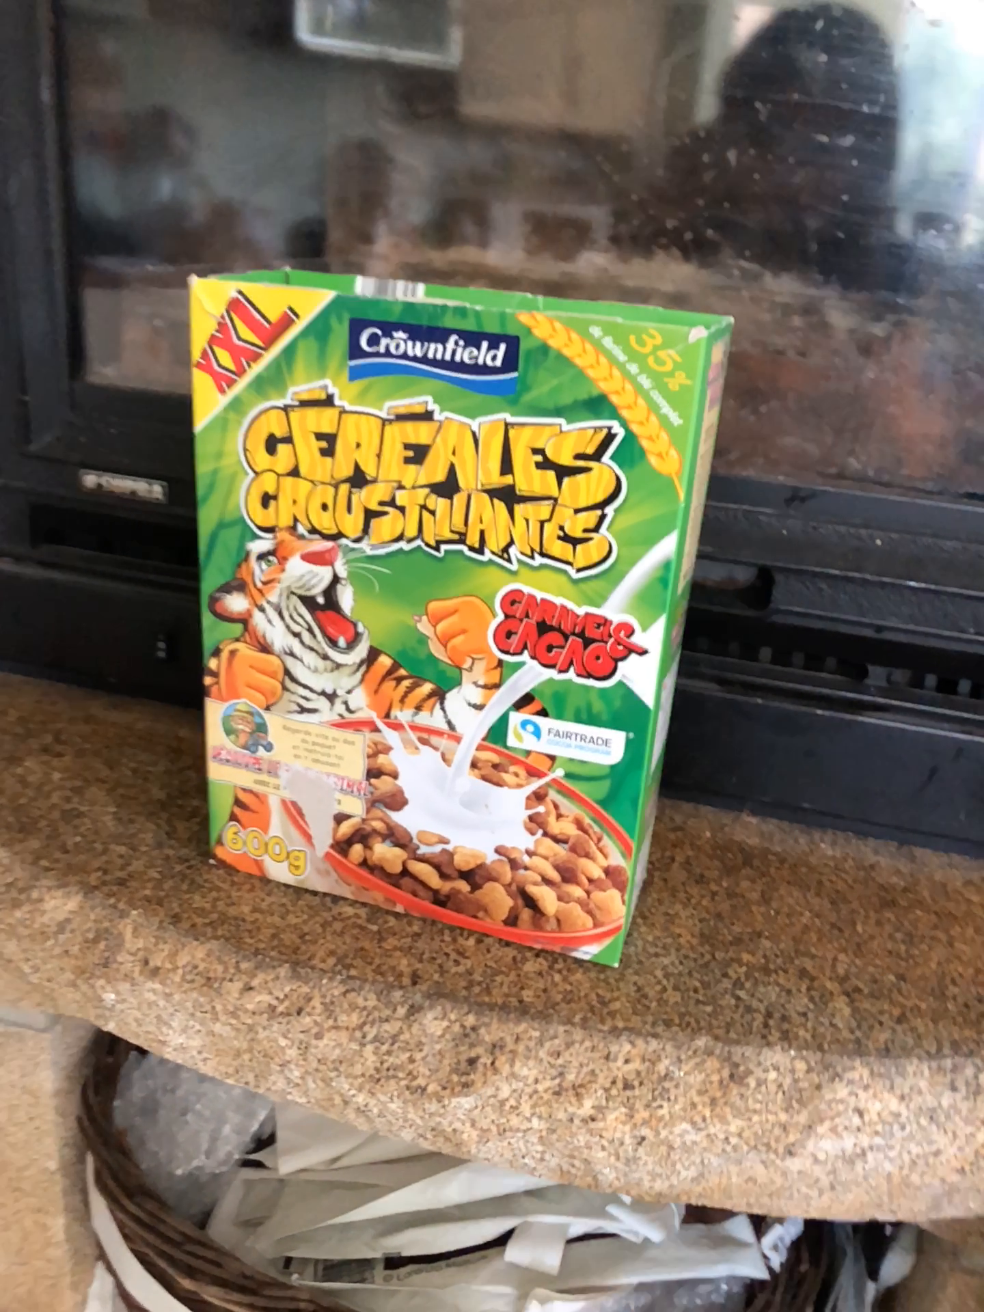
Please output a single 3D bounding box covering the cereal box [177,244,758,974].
[{"bbox_3d":[-0.014,-0.025,0.454,0.200,0.259,0.091,10,22,13],"label":"cereal box"}]
